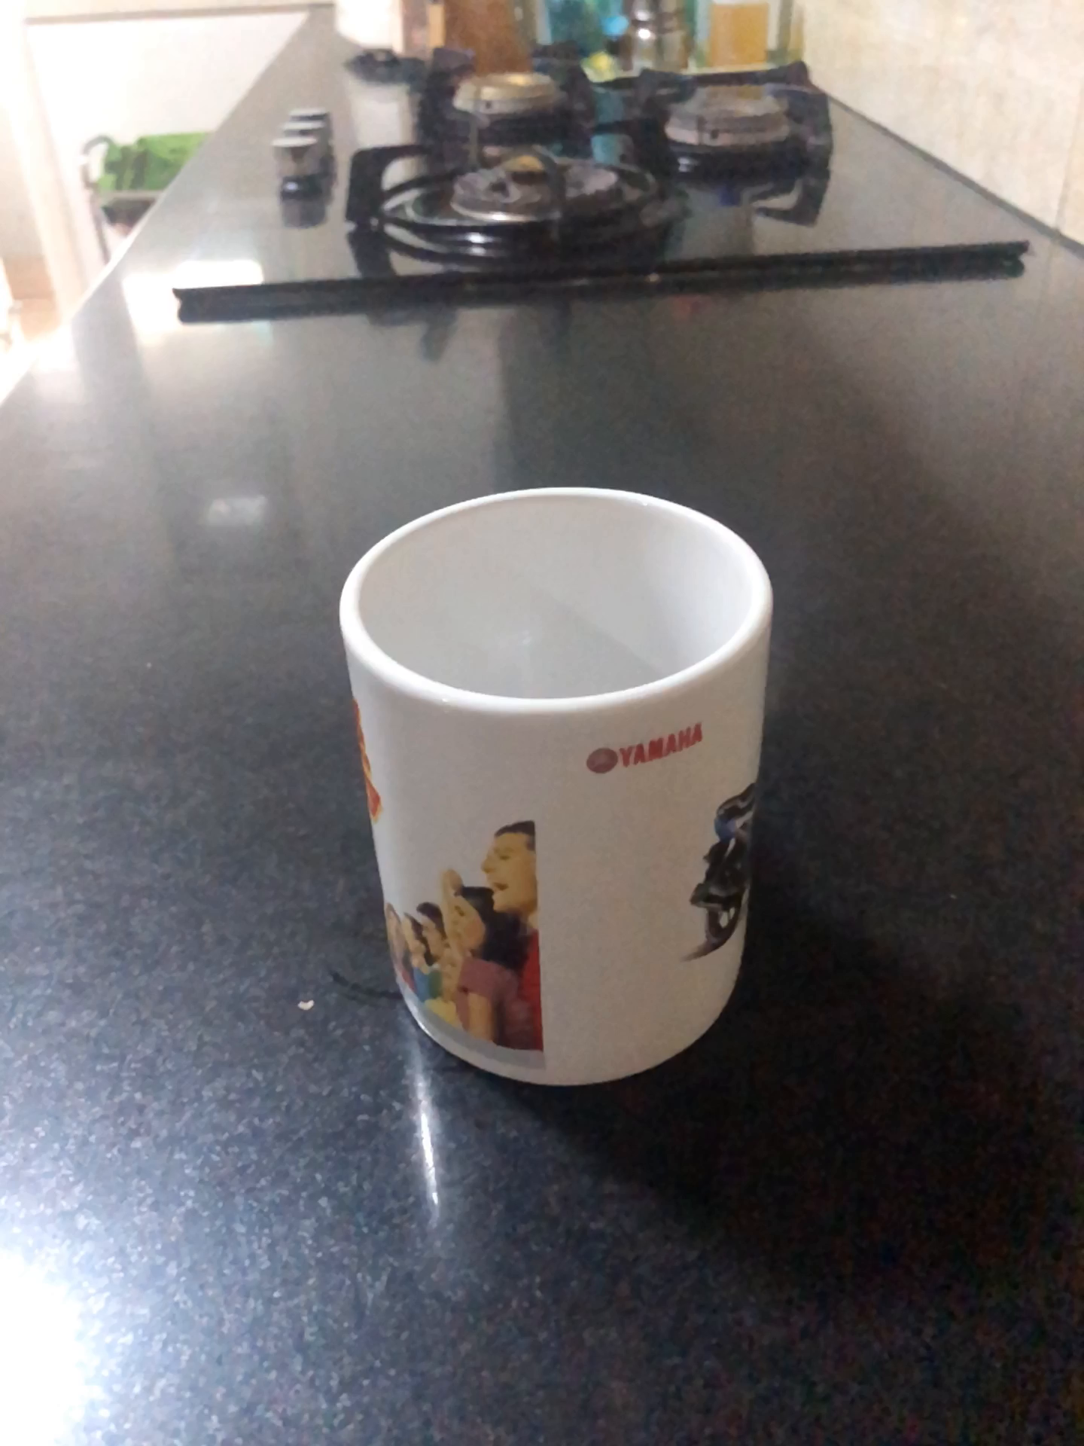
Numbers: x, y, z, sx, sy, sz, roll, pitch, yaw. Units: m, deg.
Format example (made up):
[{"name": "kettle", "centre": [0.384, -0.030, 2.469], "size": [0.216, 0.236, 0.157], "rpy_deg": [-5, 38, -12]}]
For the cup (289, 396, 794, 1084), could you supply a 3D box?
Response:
[{"name": "cup", "centre": [0.002, -0.002, 0.269], "size": [0.080, 0.099, 0.121], "rpy_deg": [-1, 35, 2]}]
